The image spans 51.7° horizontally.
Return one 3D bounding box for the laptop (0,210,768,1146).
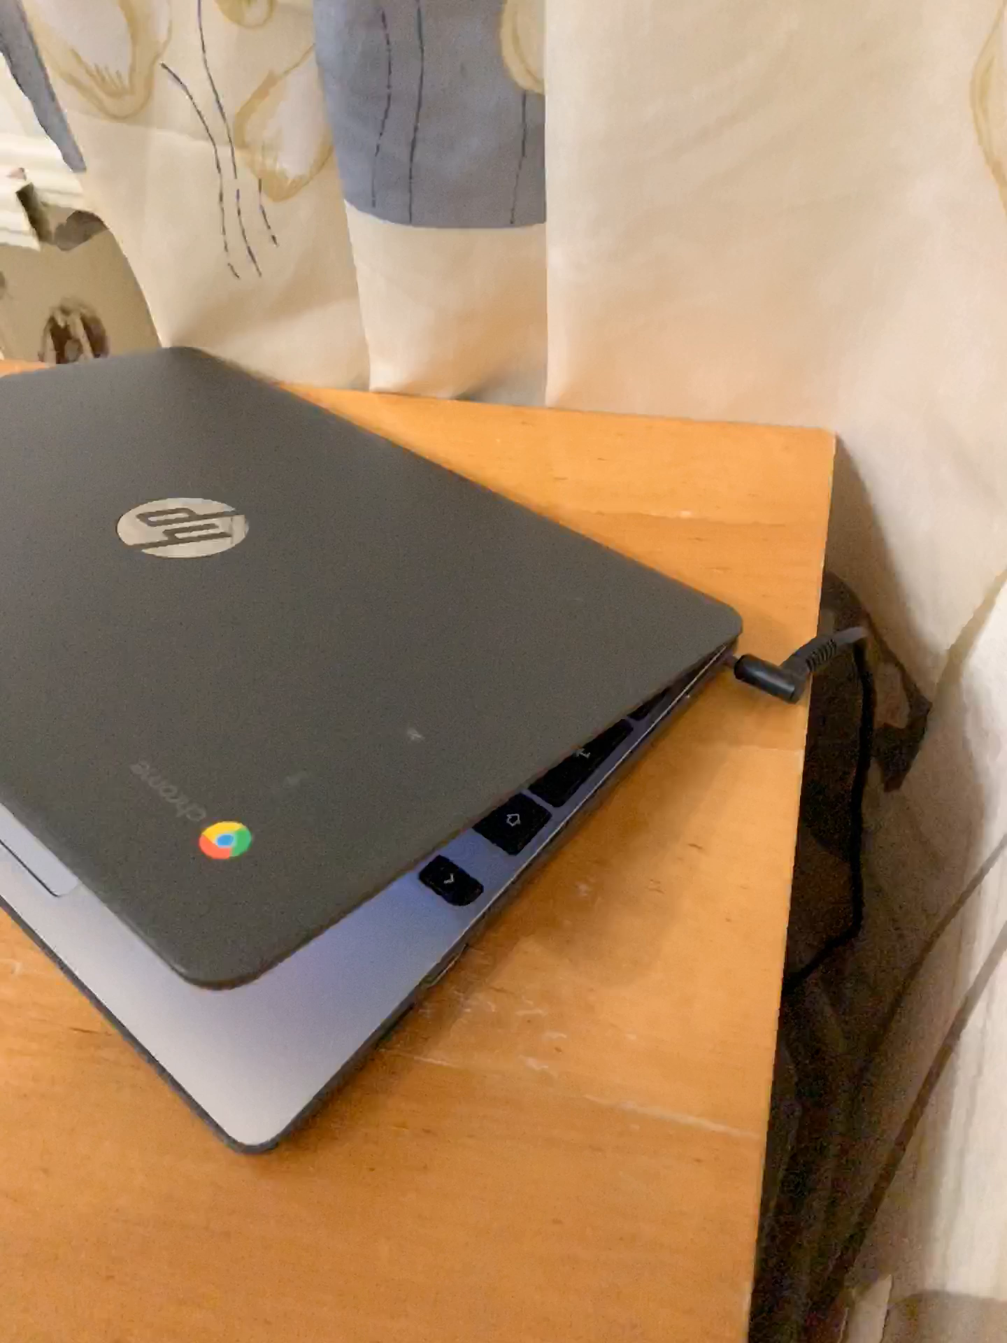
[{"bbox_3d":[-0.092,-0.037,0.311,0.269,0.066,0.191,31,58,29],"label":"laptop"}]
